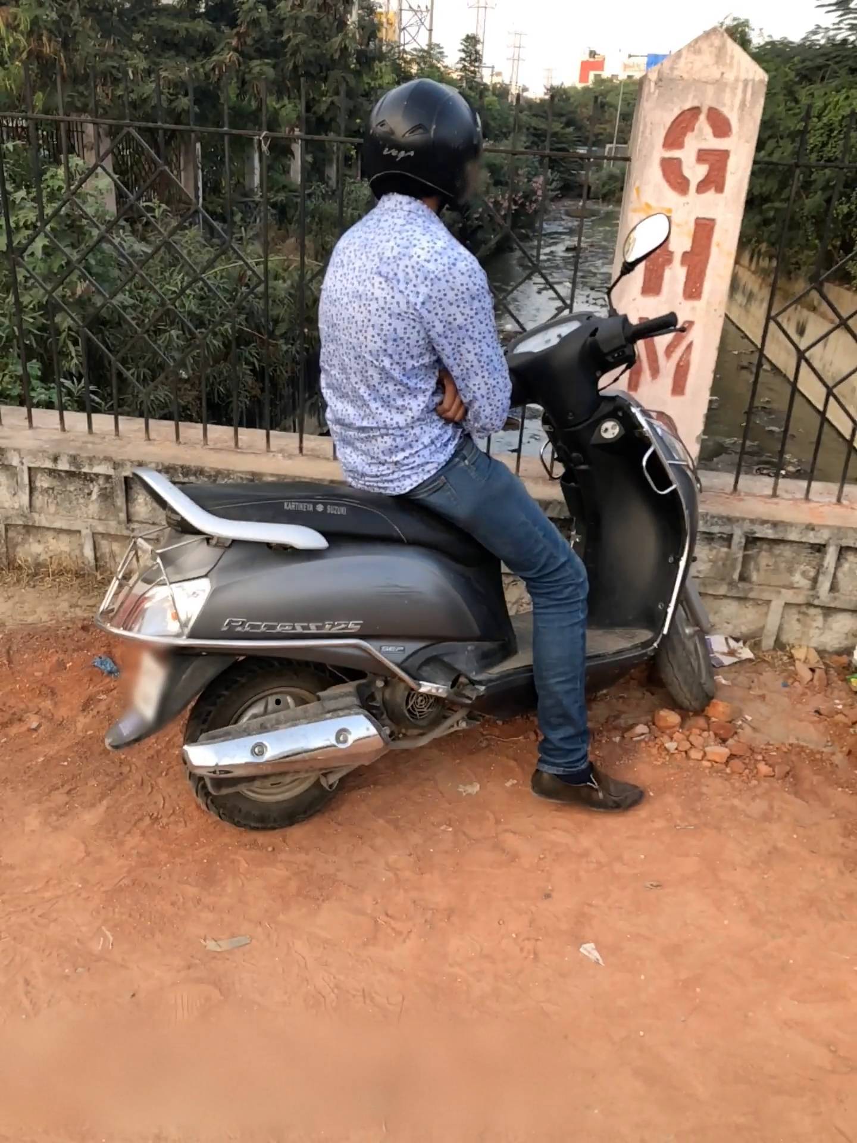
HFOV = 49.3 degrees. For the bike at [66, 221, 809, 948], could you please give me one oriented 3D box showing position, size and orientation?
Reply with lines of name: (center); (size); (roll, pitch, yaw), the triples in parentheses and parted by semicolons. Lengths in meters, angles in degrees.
bike: (0.057, -0.152, 2.413); (1.582, 1.216, 0.799); (-19, 32, -36)
